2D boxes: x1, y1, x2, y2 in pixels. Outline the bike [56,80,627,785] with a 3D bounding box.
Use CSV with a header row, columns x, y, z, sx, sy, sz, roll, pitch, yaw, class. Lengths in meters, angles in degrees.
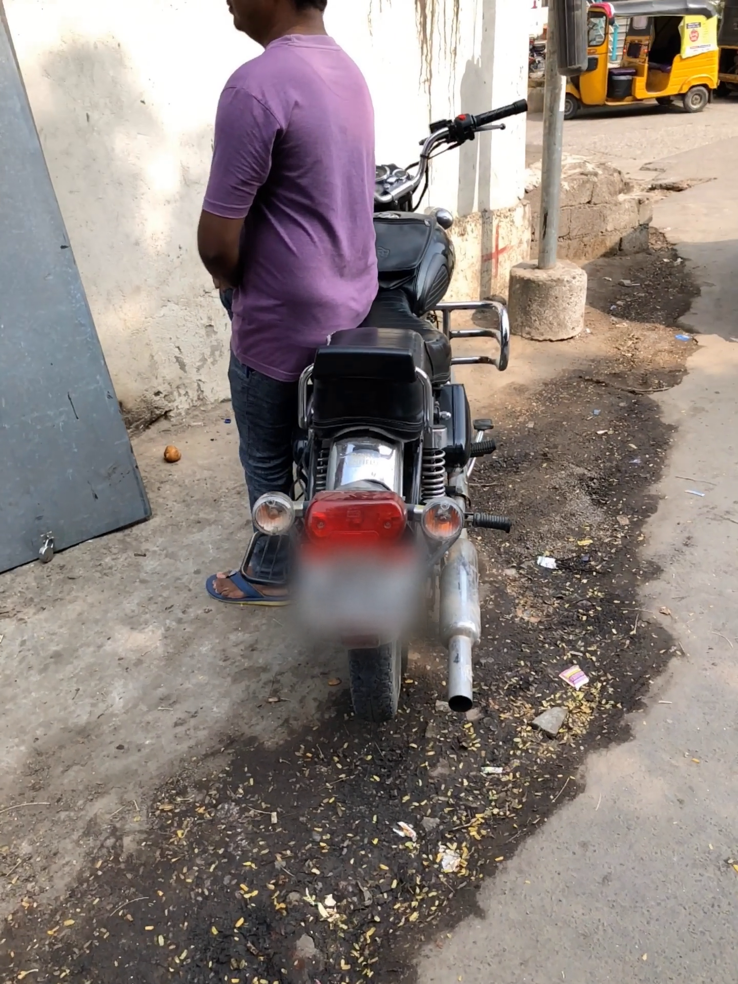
x,y,z,sx,sy,sz,roll,pitch,yaw,class
-0.066,-0.393,2.297,0.838,1.173,1.932,-4,32,1,bike
